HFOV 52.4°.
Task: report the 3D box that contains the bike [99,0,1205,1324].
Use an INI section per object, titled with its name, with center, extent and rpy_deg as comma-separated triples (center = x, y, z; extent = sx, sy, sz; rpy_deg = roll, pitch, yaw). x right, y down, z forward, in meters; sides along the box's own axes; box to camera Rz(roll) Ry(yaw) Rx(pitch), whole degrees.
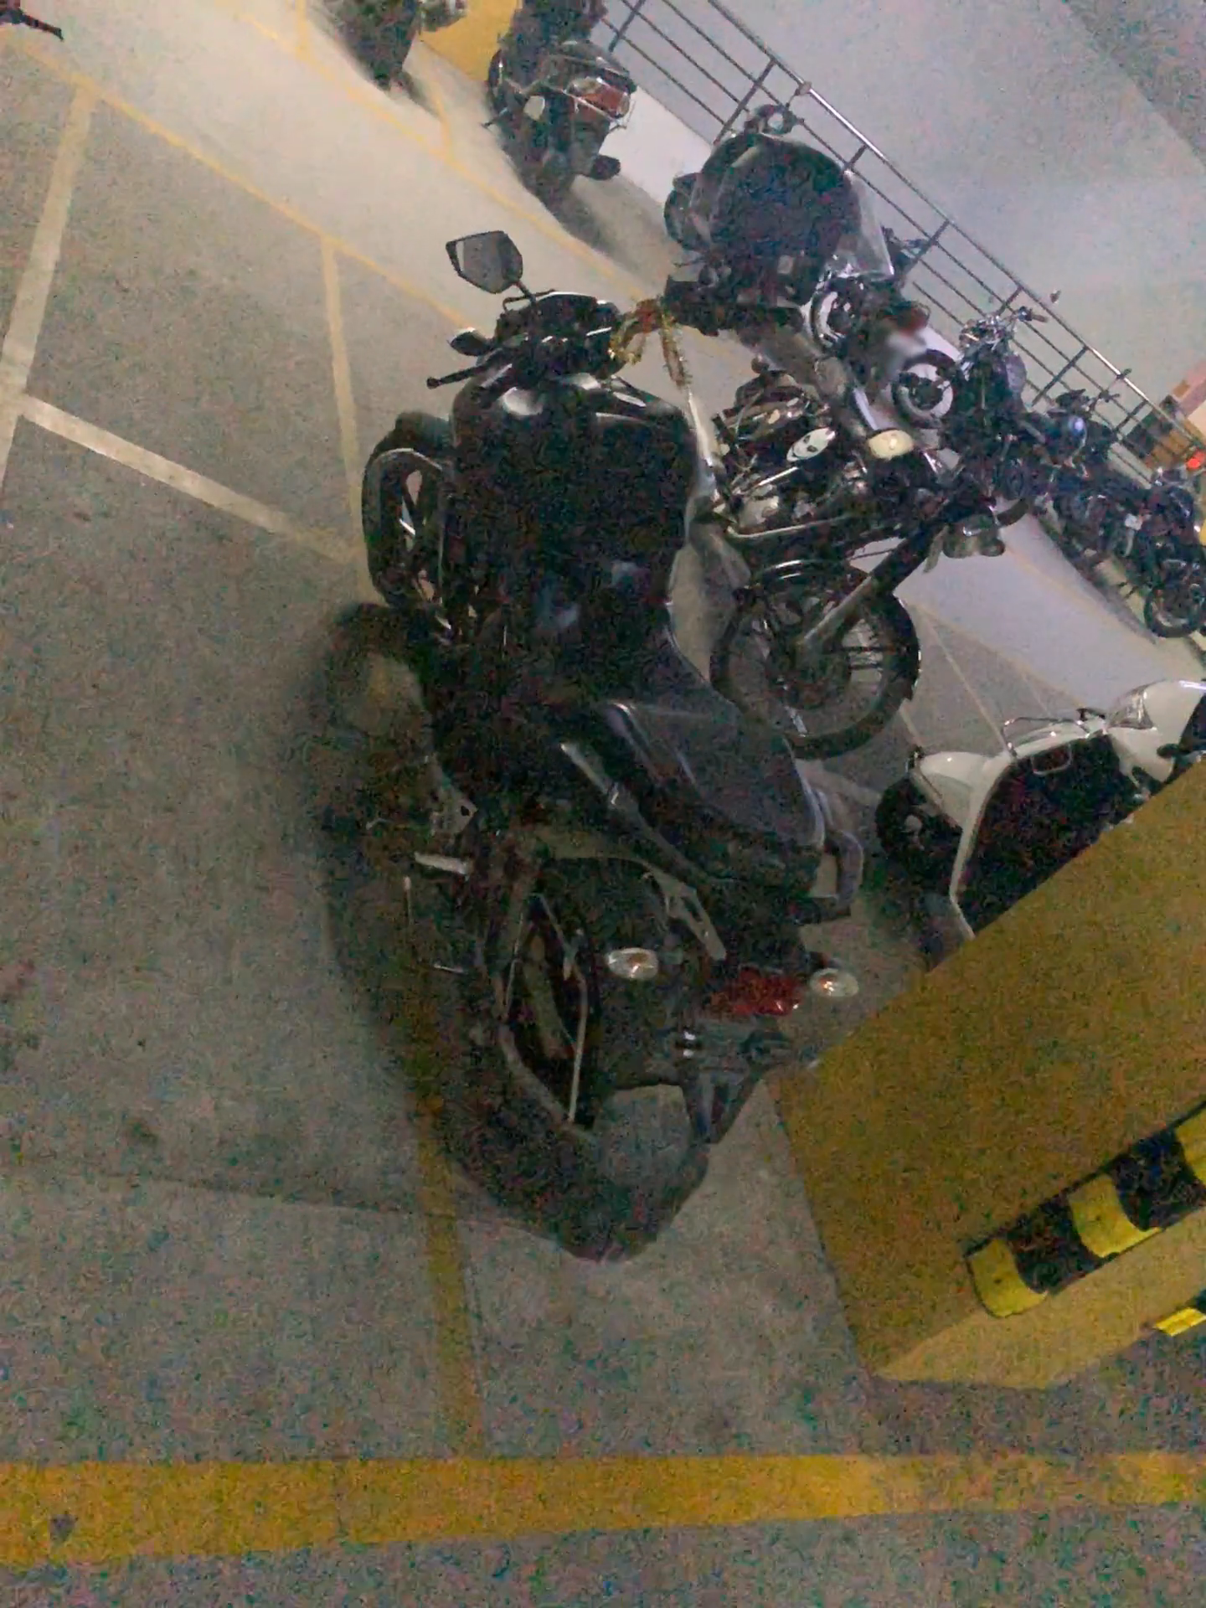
[bike]
center = -0.107, -0.330, 1.898
extent = 0.788, 1.096, 1.738
rpy_deg = 15, 43, -41
